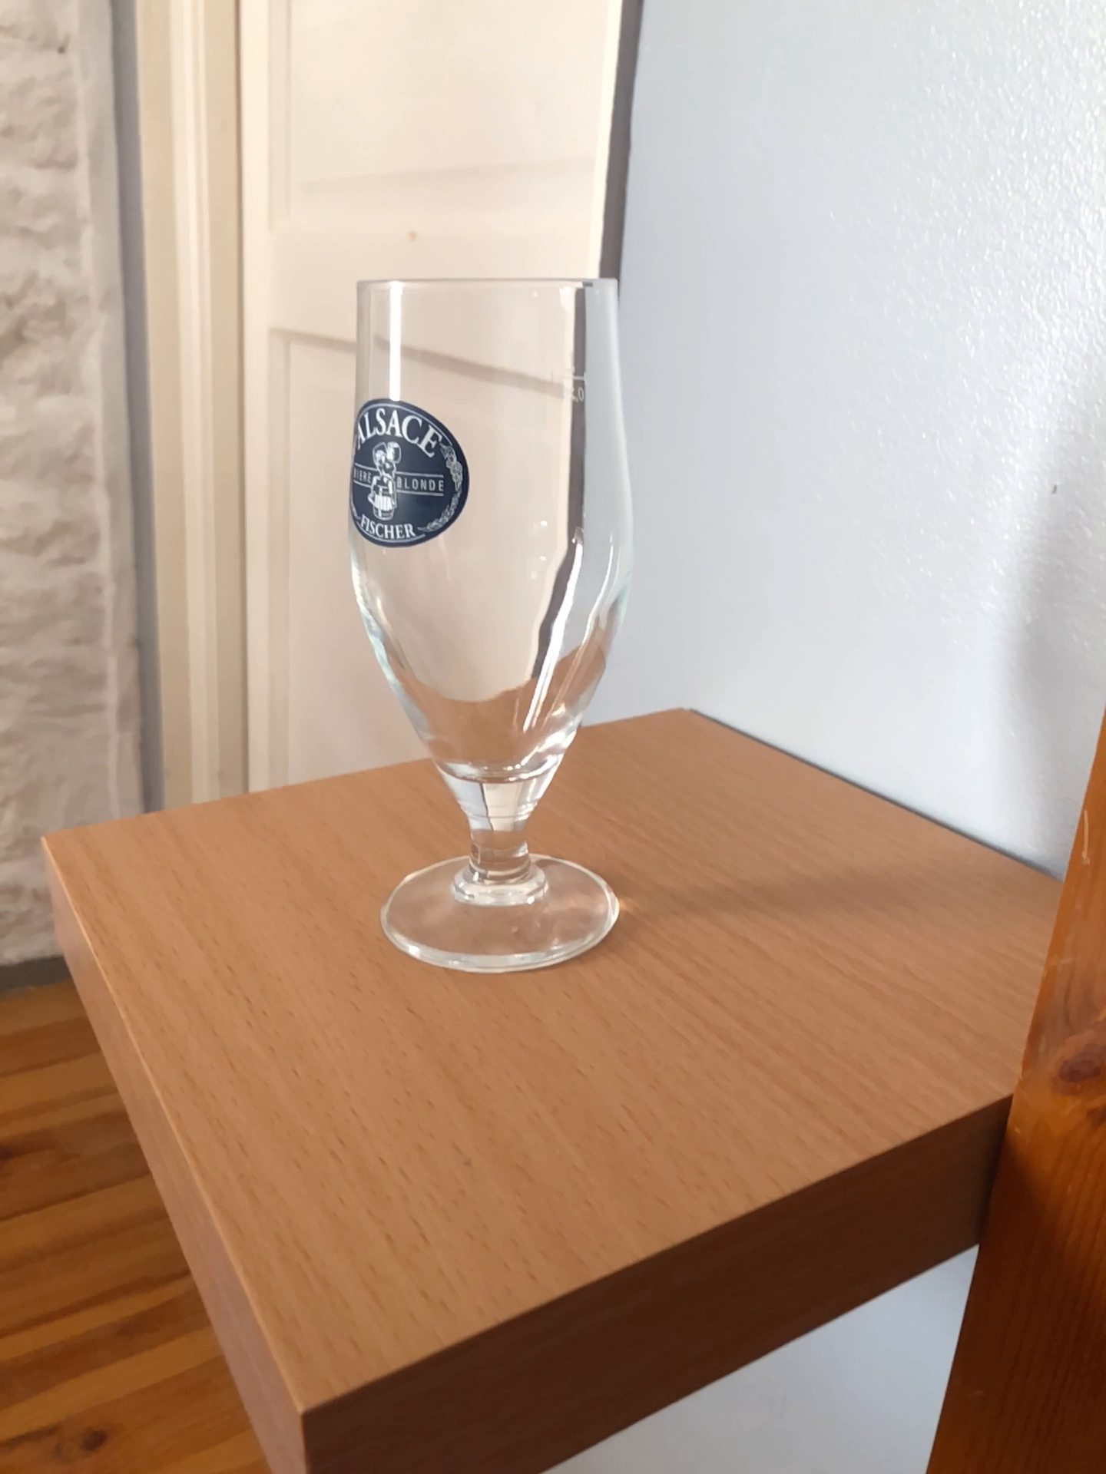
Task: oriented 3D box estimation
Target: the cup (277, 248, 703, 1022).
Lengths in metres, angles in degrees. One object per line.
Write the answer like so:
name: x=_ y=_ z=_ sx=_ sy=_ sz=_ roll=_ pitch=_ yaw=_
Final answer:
cup: x=-0.014 y=-0.029 z=0.302 sx=0.068 sy=0.166 sz=0.068 roll=0 pitch=18 yaw=0
